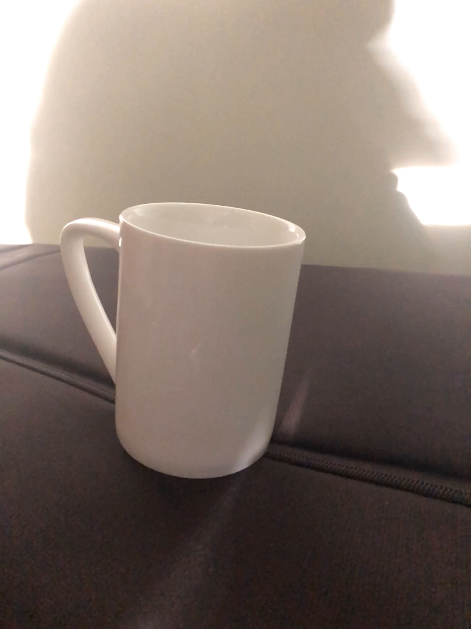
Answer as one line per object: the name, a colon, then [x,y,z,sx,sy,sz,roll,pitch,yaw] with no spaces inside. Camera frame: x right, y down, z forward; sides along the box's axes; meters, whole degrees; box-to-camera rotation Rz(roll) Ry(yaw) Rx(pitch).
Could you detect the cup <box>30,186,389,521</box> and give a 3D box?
cup: [-0.015,0.000,0.226,0.109,0.090,0.097,23,24,36]
